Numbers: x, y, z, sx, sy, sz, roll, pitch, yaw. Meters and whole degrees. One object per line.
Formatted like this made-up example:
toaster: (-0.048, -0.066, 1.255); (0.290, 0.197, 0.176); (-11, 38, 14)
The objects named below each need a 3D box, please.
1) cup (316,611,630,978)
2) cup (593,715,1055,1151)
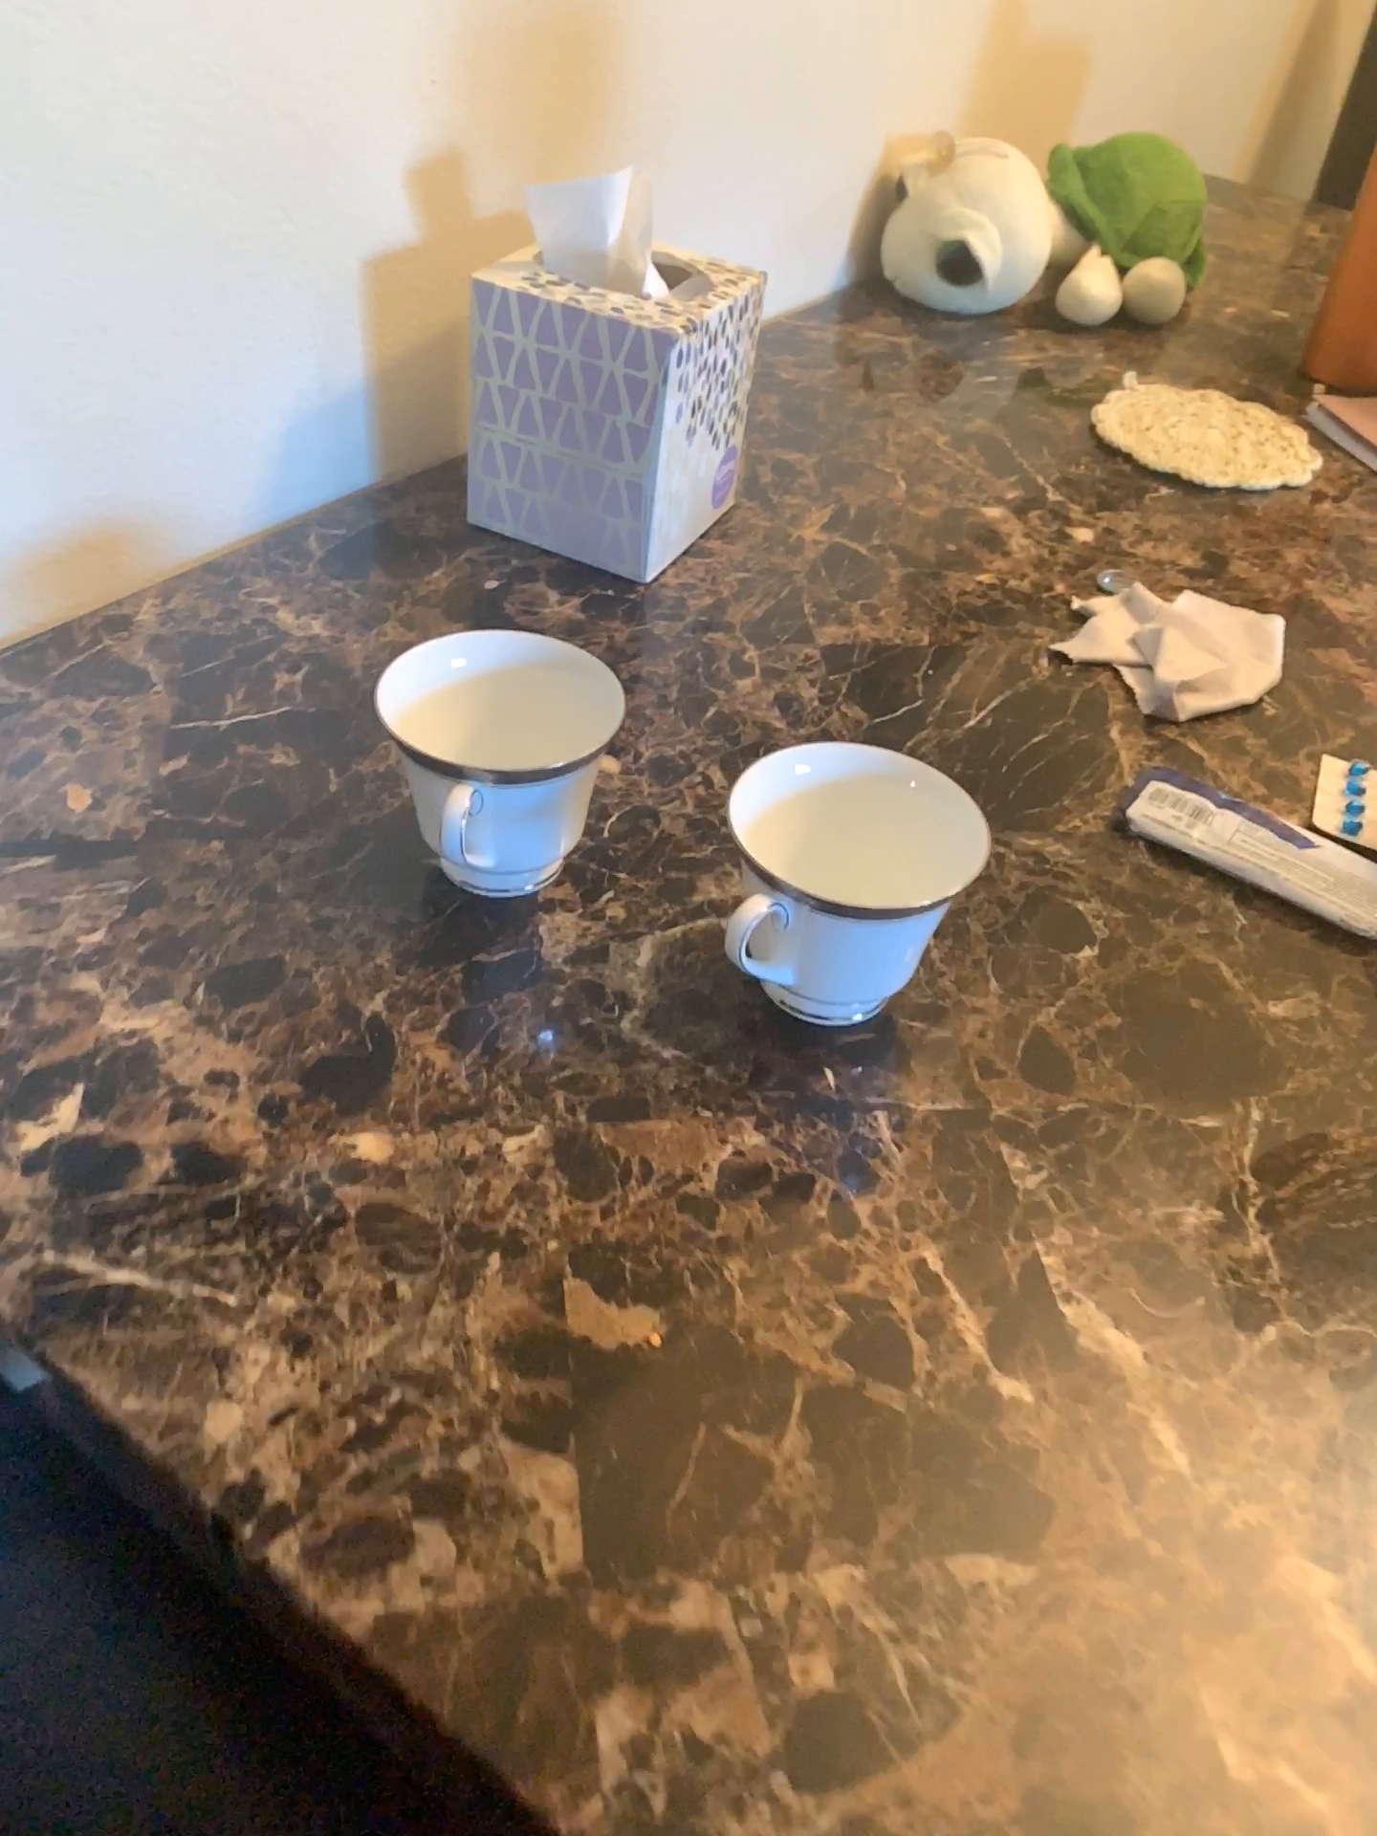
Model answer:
cup: (-0.072, -0.046, 0.507); (0.090, 0.070, 0.111); (6, 42, -2)
cup: (0.044, 0.000, 0.485); (0.120, 0.070, 0.090); (-28, 52, -33)
